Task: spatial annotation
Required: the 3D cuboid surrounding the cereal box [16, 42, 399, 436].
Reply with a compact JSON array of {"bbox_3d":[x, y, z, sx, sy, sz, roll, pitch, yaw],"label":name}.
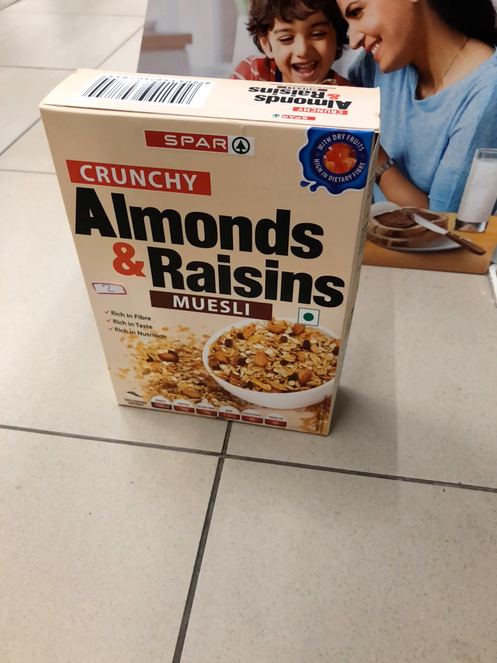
[{"bbox_3d":[-0.017,-0.043,0.355,0.180,0.238,0.060,7,43,7],"label":"cereal box"}]
